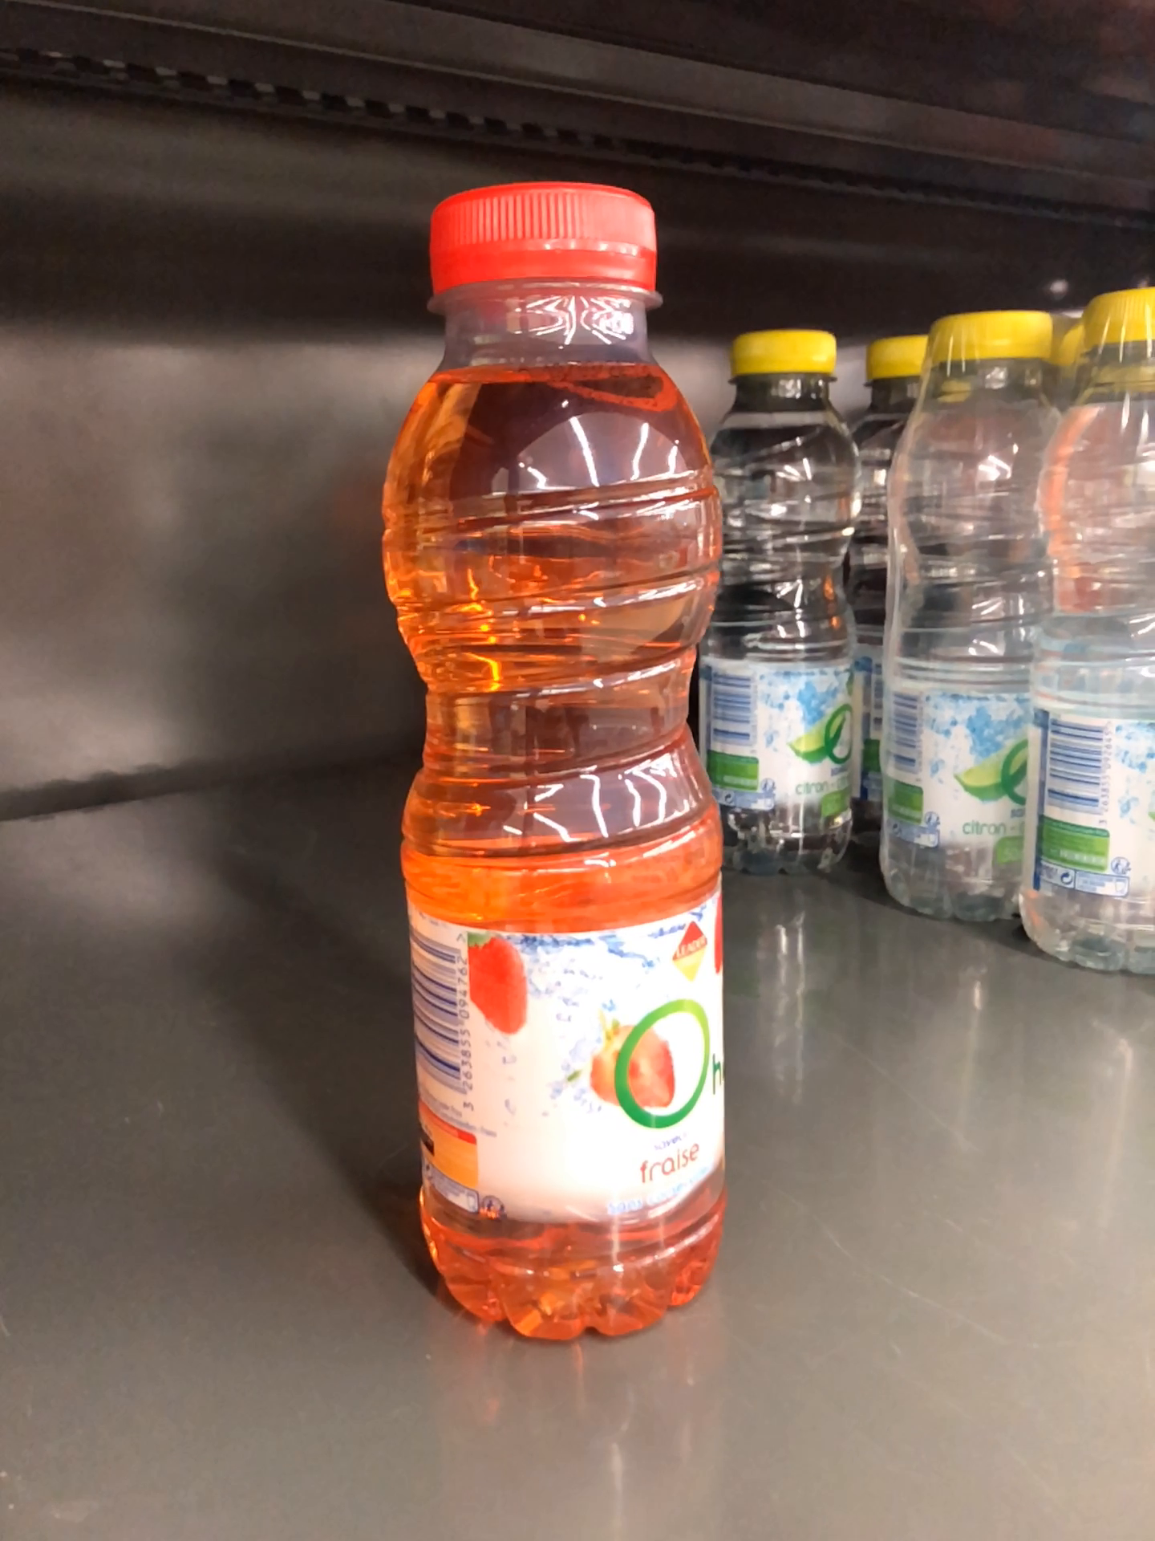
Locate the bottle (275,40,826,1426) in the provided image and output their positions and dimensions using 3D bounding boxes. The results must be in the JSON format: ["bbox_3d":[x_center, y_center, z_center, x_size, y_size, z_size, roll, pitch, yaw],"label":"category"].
[{"bbox_3d":[-0.002,-0.004,0.235,0.070,0.209,0.060,-11,15,-36],"label":"bottle"}]
